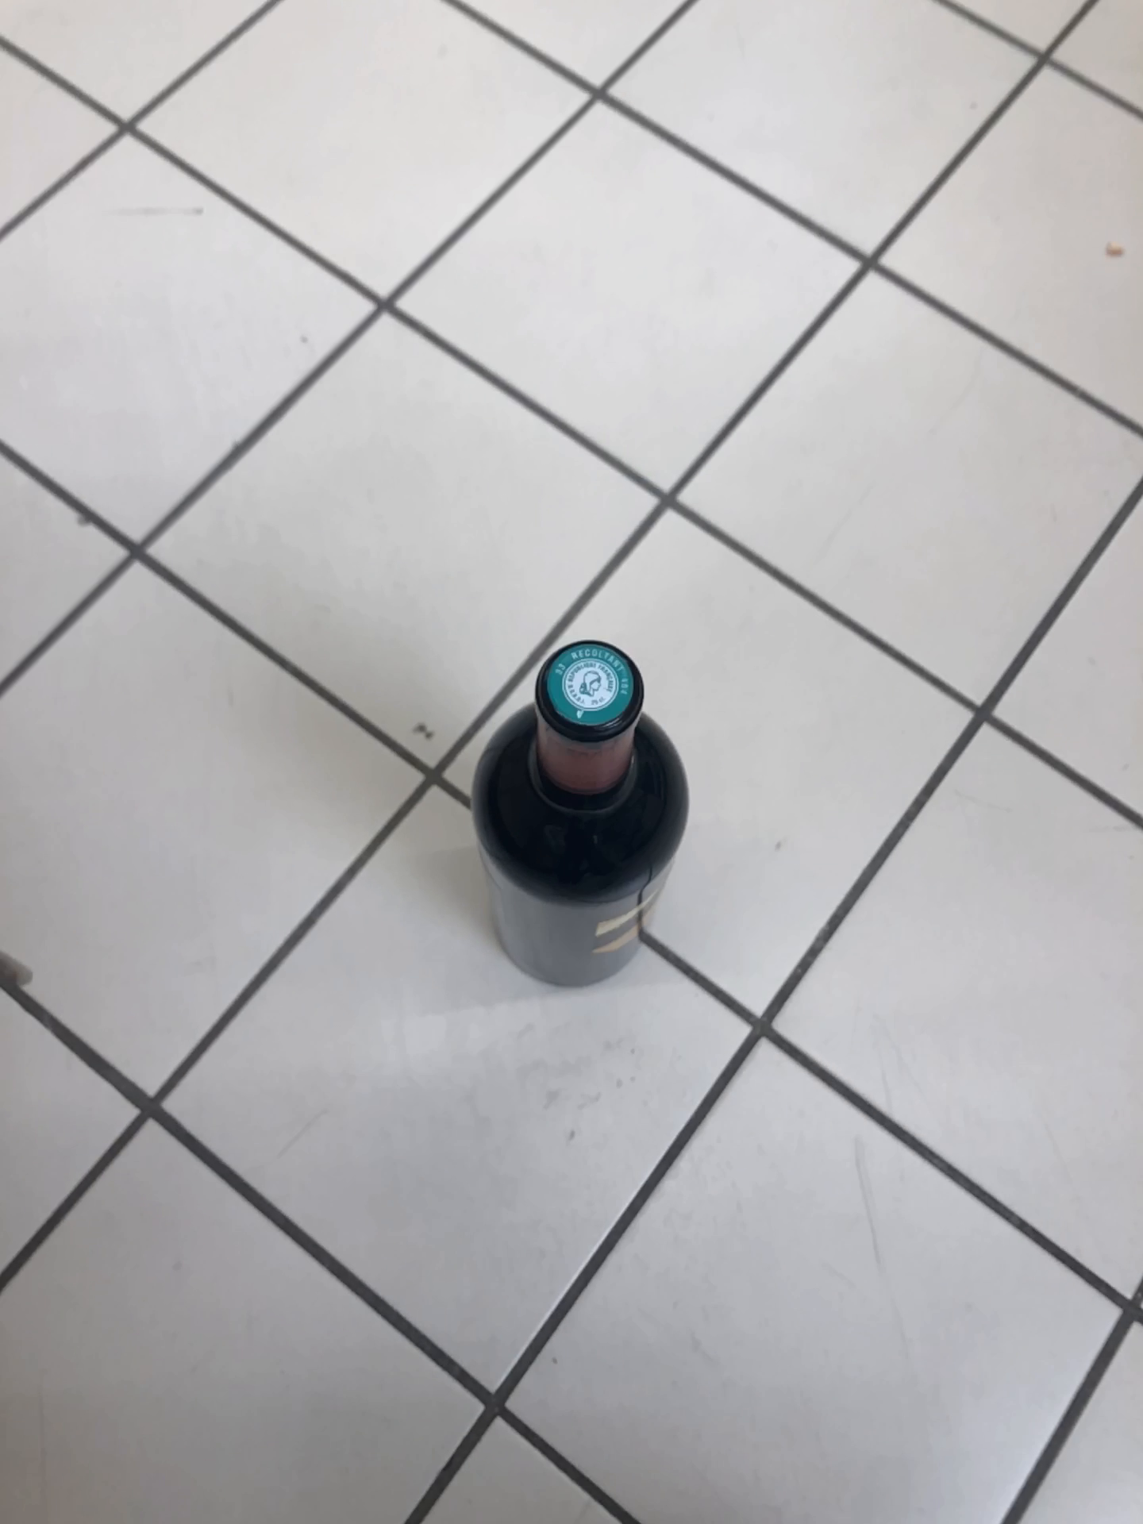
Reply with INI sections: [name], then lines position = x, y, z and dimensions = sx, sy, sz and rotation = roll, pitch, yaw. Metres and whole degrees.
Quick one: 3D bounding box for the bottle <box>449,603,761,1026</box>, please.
[bottle]
position = 0.004, 0.039, 0.469
dimensions = 0.080, 0.279, 0.080
rotation = 1, 71, -2
